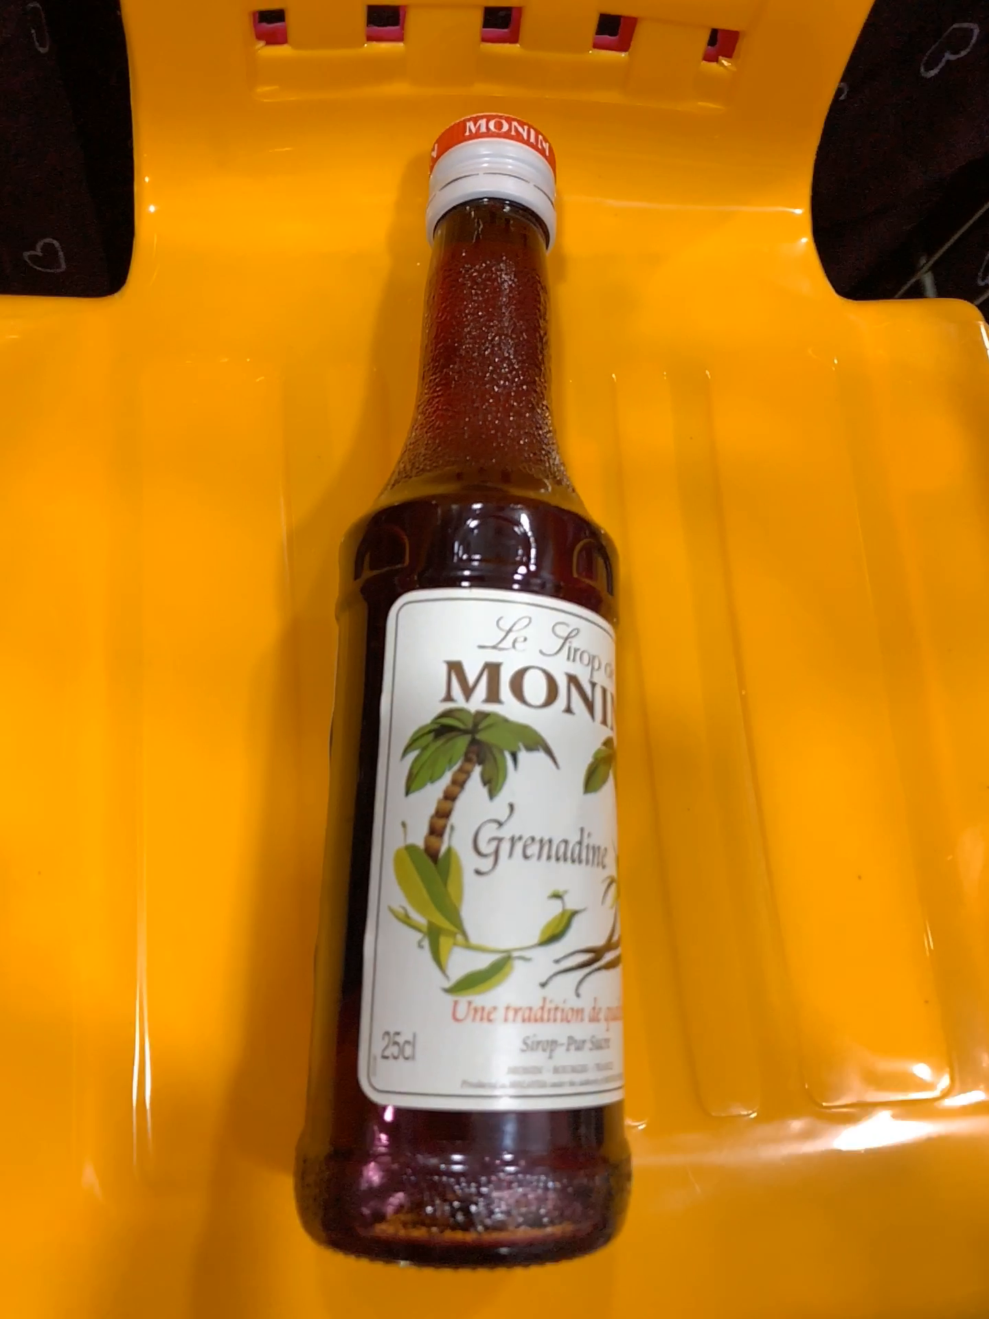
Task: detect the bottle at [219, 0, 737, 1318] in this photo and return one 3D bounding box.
[{"bbox_3d":[0.000,-0.024,0.191,0.060,0.050,0.240,16,67,-39],"label":"bottle"}]
